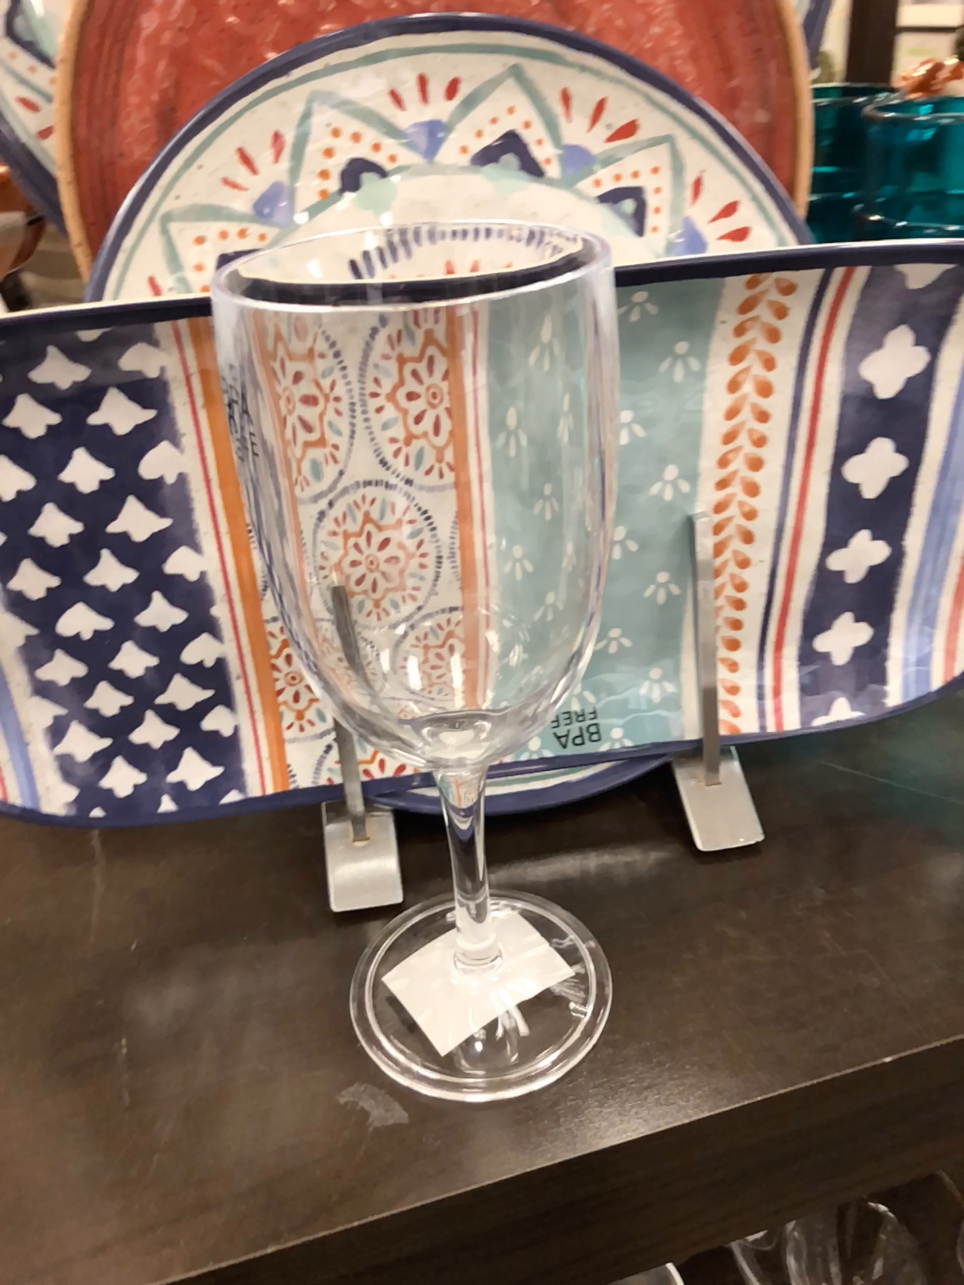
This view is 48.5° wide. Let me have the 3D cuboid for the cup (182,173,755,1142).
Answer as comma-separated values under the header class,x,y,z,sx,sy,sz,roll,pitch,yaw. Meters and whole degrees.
class,x,y,z,sx,sy,sz,roll,pitch,yaw
cup,-0.003,0.006,0.253,0.090,0.200,0.085,-3,30,2
